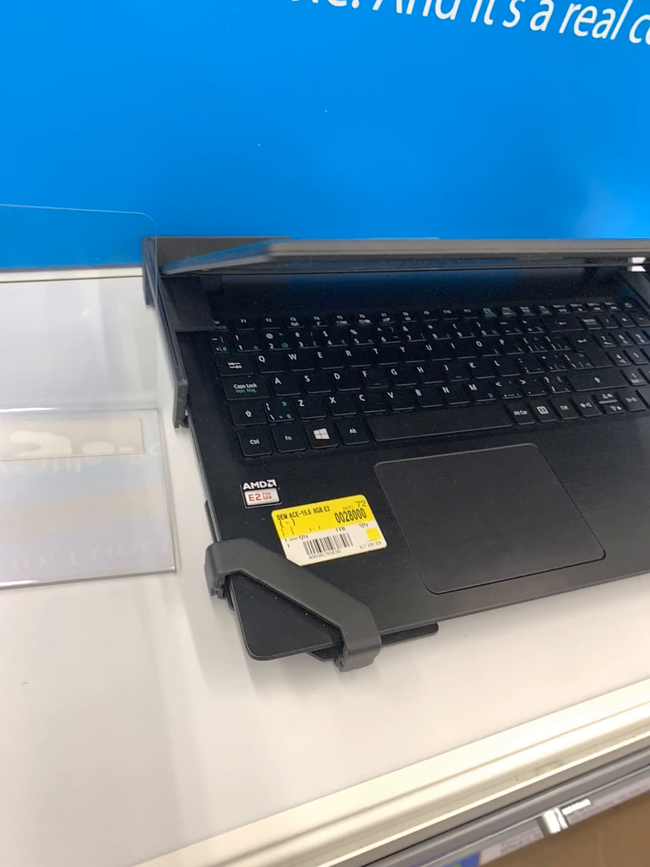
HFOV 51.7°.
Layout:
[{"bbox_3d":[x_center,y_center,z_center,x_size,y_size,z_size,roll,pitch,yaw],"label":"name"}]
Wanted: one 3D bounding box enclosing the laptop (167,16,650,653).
[{"bbox_3d":[0.122,-0.063,0.347,0.364,0.137,0.222,-6,55,-22],"label":"laptop"}]
